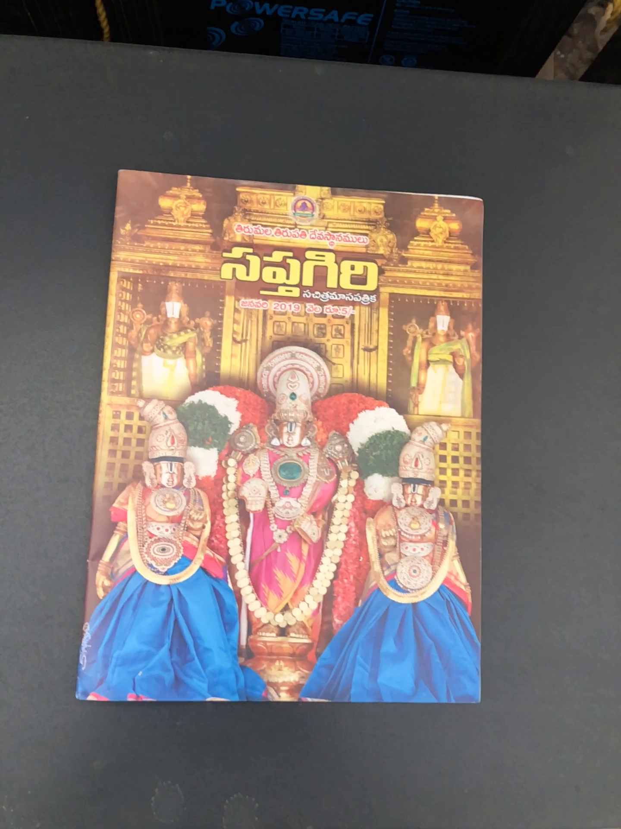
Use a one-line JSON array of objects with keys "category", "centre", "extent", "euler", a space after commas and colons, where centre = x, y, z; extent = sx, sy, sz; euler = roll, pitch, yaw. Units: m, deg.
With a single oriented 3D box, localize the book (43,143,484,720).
[{"category": "book", "centre": [-0.015, 0.006, 0.346], "extent": [0.200, 0.030, 0.270], "euler": [3, 82, -5]}]
